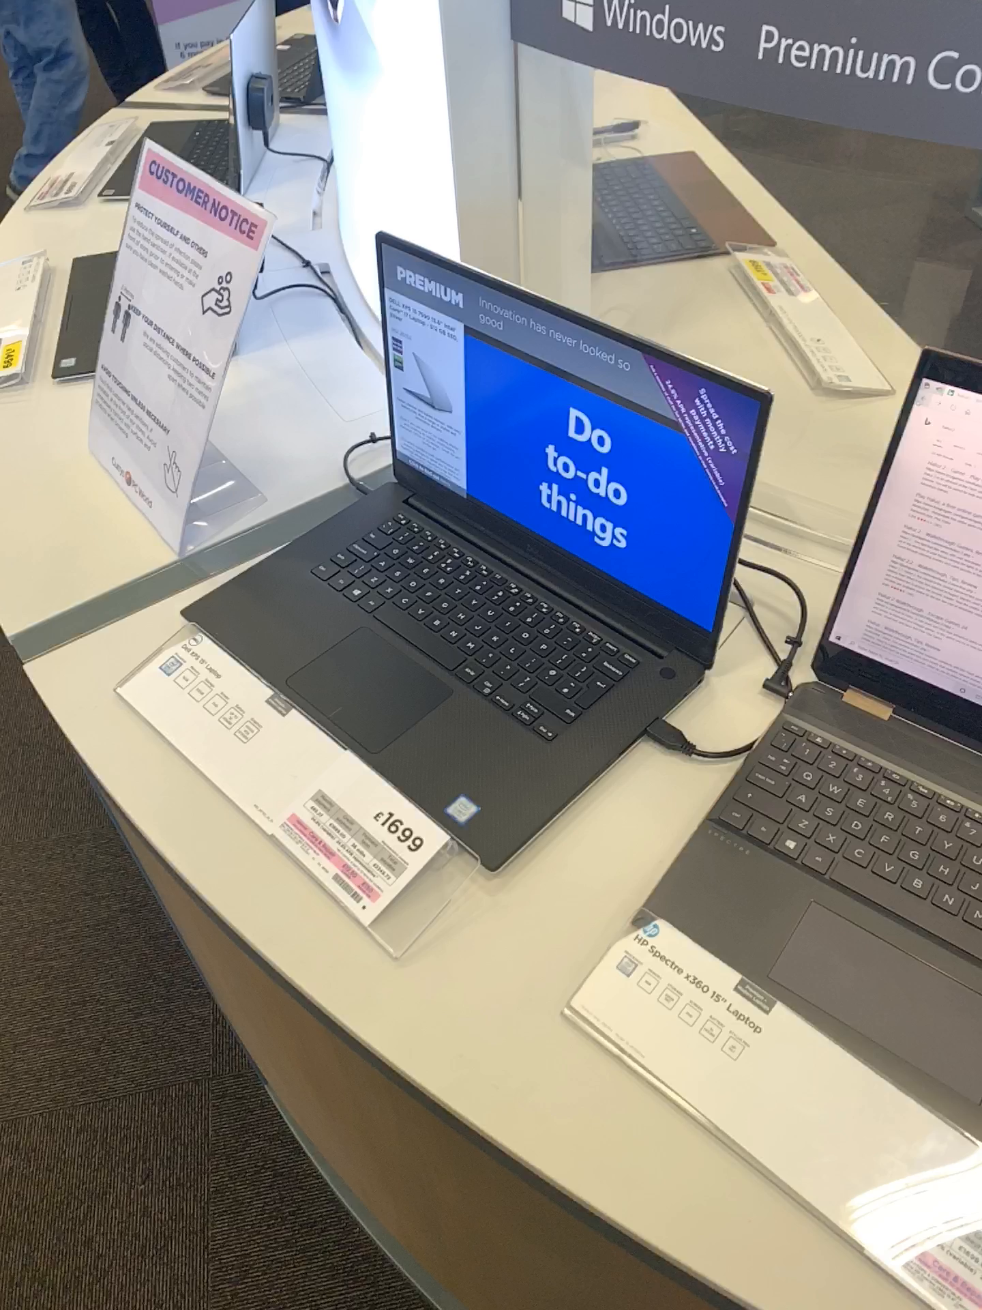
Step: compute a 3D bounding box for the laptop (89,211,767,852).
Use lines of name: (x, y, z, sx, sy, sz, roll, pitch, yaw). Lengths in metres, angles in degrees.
laptop: (-0.042, -0.109, 0.701, 0.352, 0.224, 0.254, 34, 57, 30)
